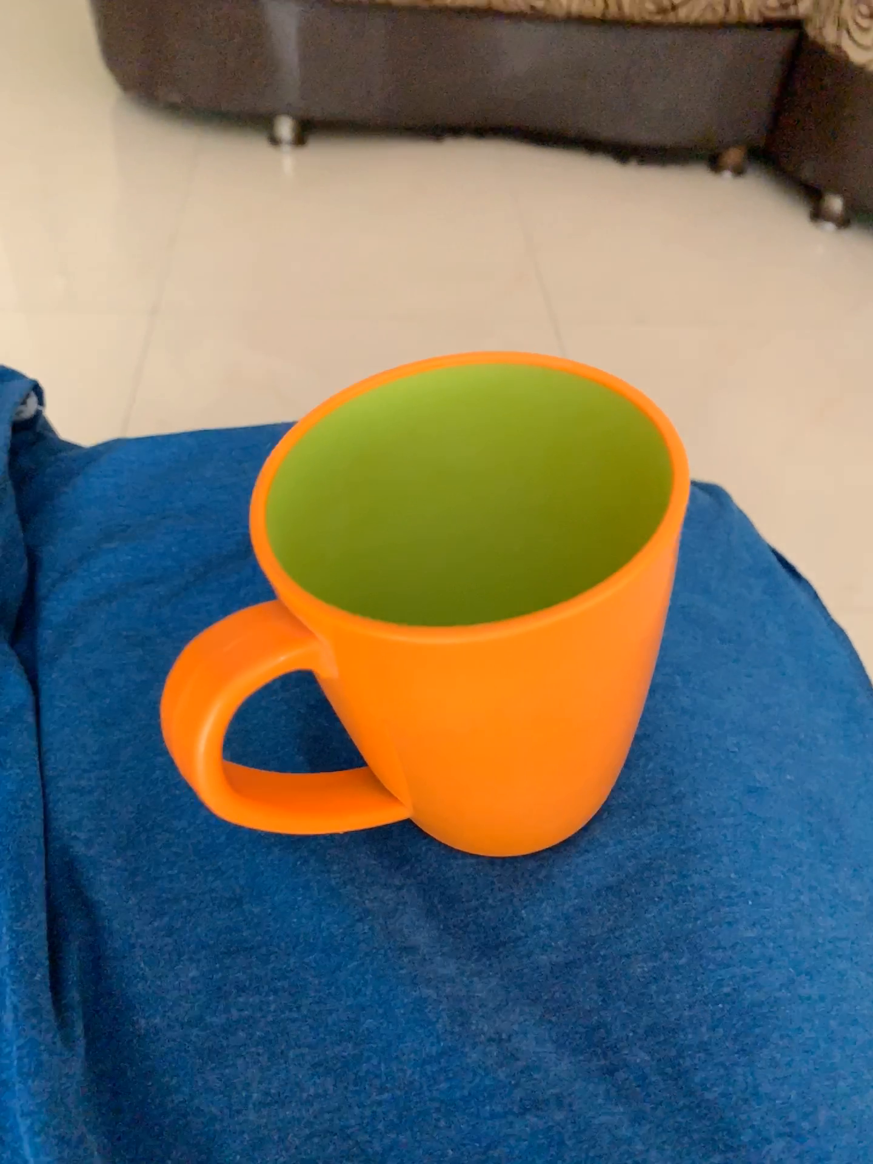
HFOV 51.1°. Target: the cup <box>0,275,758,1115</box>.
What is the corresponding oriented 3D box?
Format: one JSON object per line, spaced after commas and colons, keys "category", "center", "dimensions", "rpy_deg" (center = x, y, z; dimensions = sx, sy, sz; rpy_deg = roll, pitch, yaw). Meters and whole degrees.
{"category": "cup", "center": [-0.008, 0.014, 0.195], "dimensions": [0.100, 0.089, 0.121], "rpy_deg": [24, 58, 33]}
